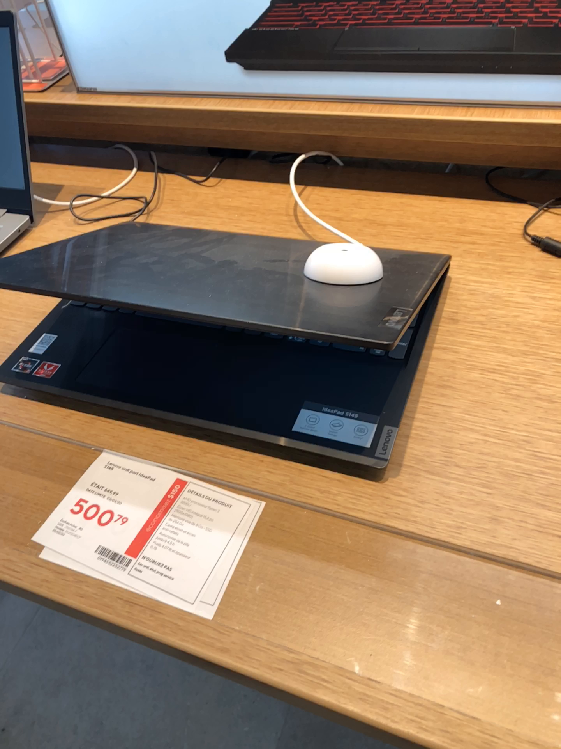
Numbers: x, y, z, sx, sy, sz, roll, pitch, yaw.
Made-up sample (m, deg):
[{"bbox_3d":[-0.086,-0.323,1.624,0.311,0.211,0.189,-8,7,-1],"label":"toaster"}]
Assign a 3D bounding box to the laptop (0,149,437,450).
[{"bbox_3d":[-0.060,-0.084,0.522,0.331,0.083,0.224,10,50,17],"label":"laptop"}]
